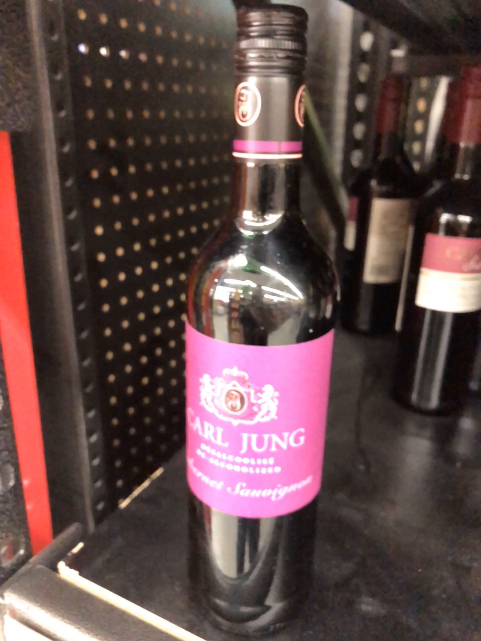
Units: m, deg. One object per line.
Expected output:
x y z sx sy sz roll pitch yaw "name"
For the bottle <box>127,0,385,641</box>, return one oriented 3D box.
0.010 0.016 0.260 0.080 0.288 0.080 1 20 0 "bottle"
